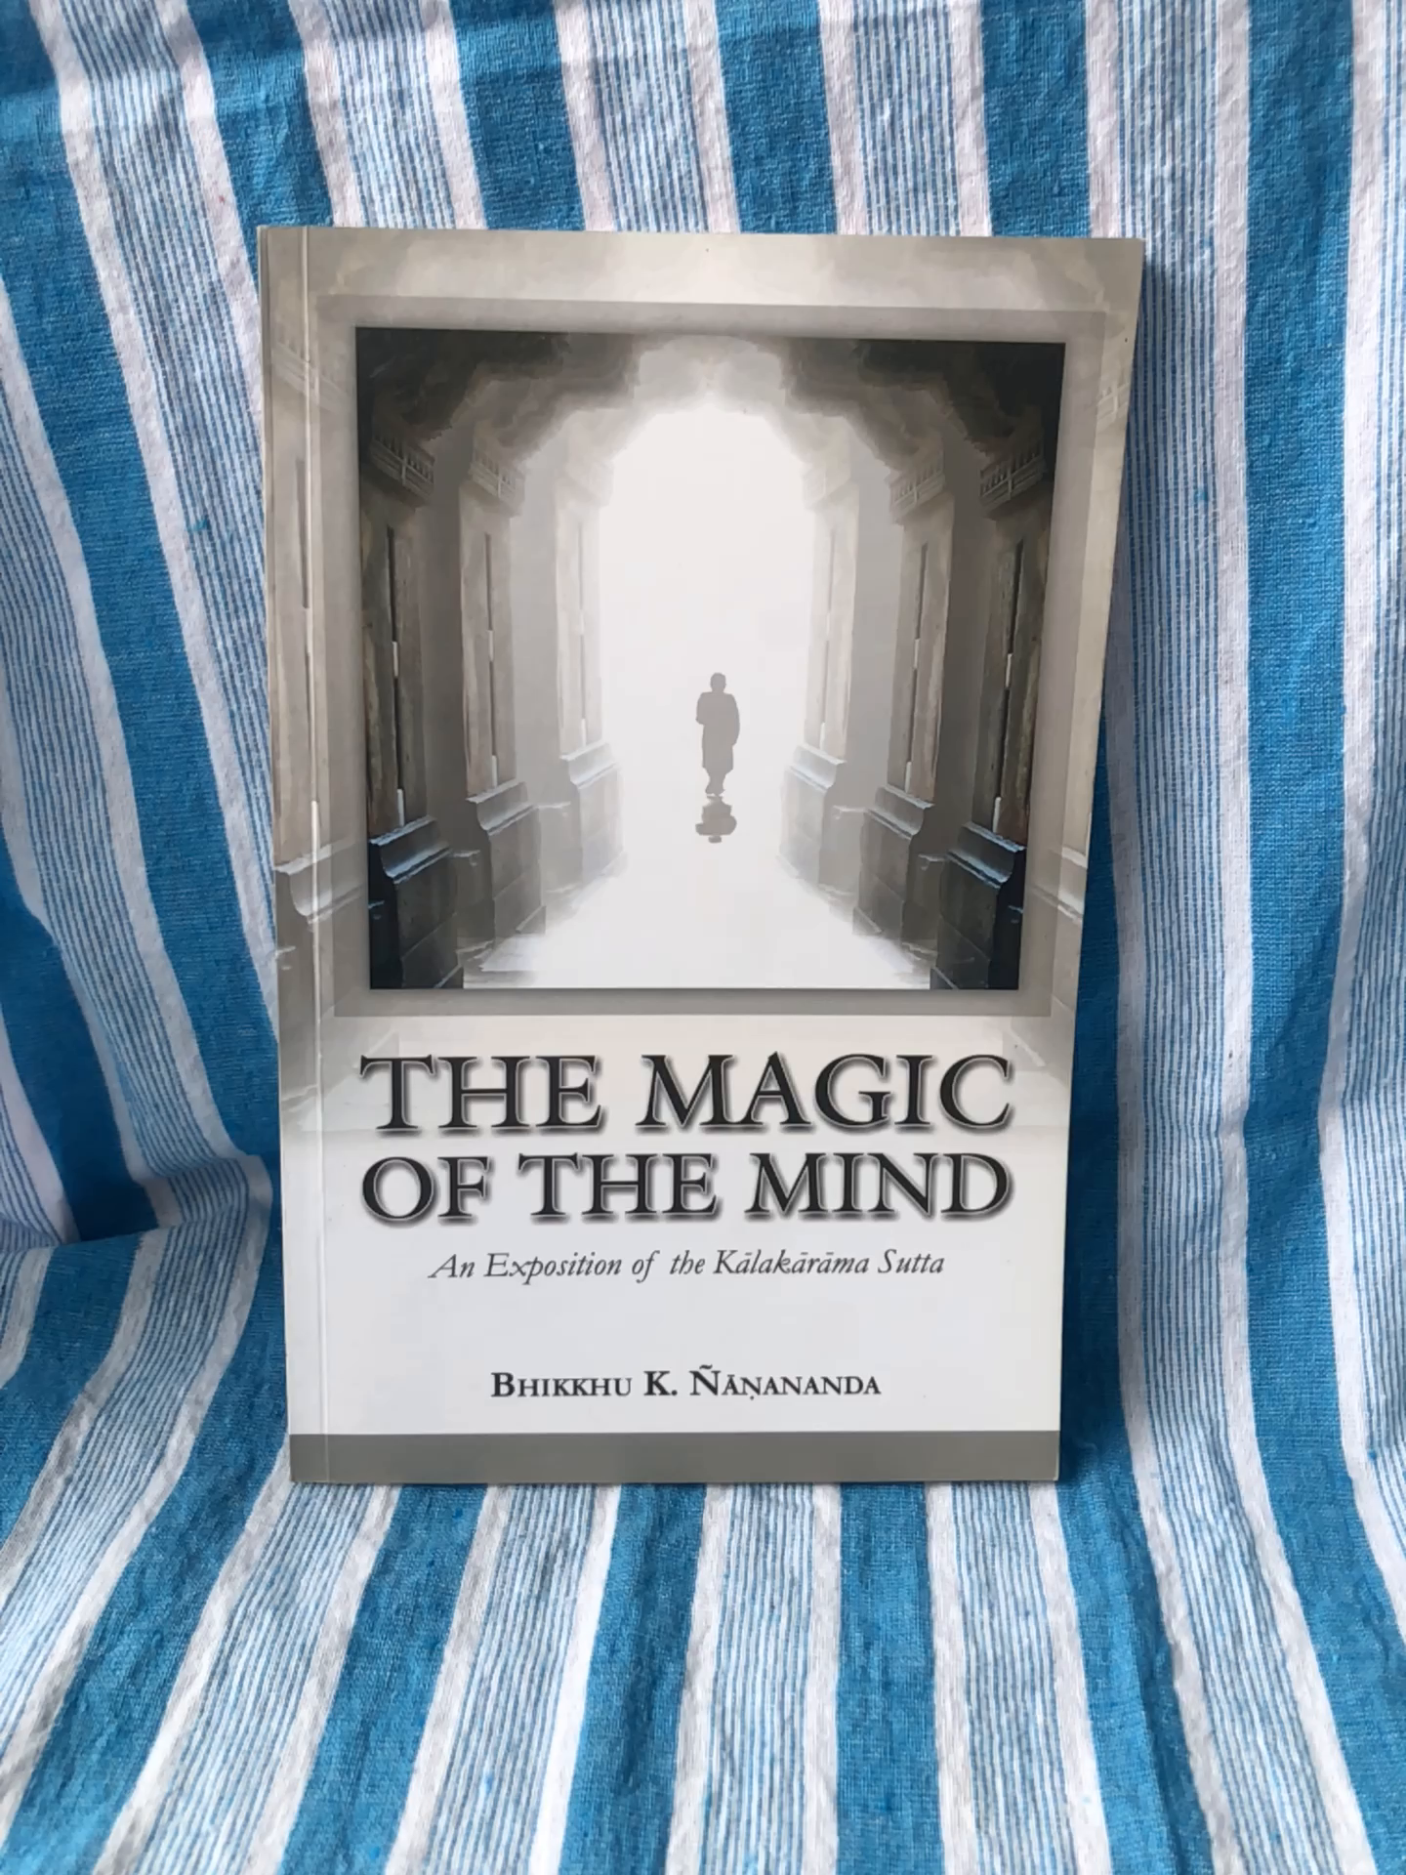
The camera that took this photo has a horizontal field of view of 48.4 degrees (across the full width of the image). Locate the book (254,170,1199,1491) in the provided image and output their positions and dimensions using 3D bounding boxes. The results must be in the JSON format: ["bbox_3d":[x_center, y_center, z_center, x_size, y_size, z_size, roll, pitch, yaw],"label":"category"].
[{"bbox_3d":[0.002,-0.011,0.268,0.150,0.220,0.010,1,8,-3],"label":"book"}]
